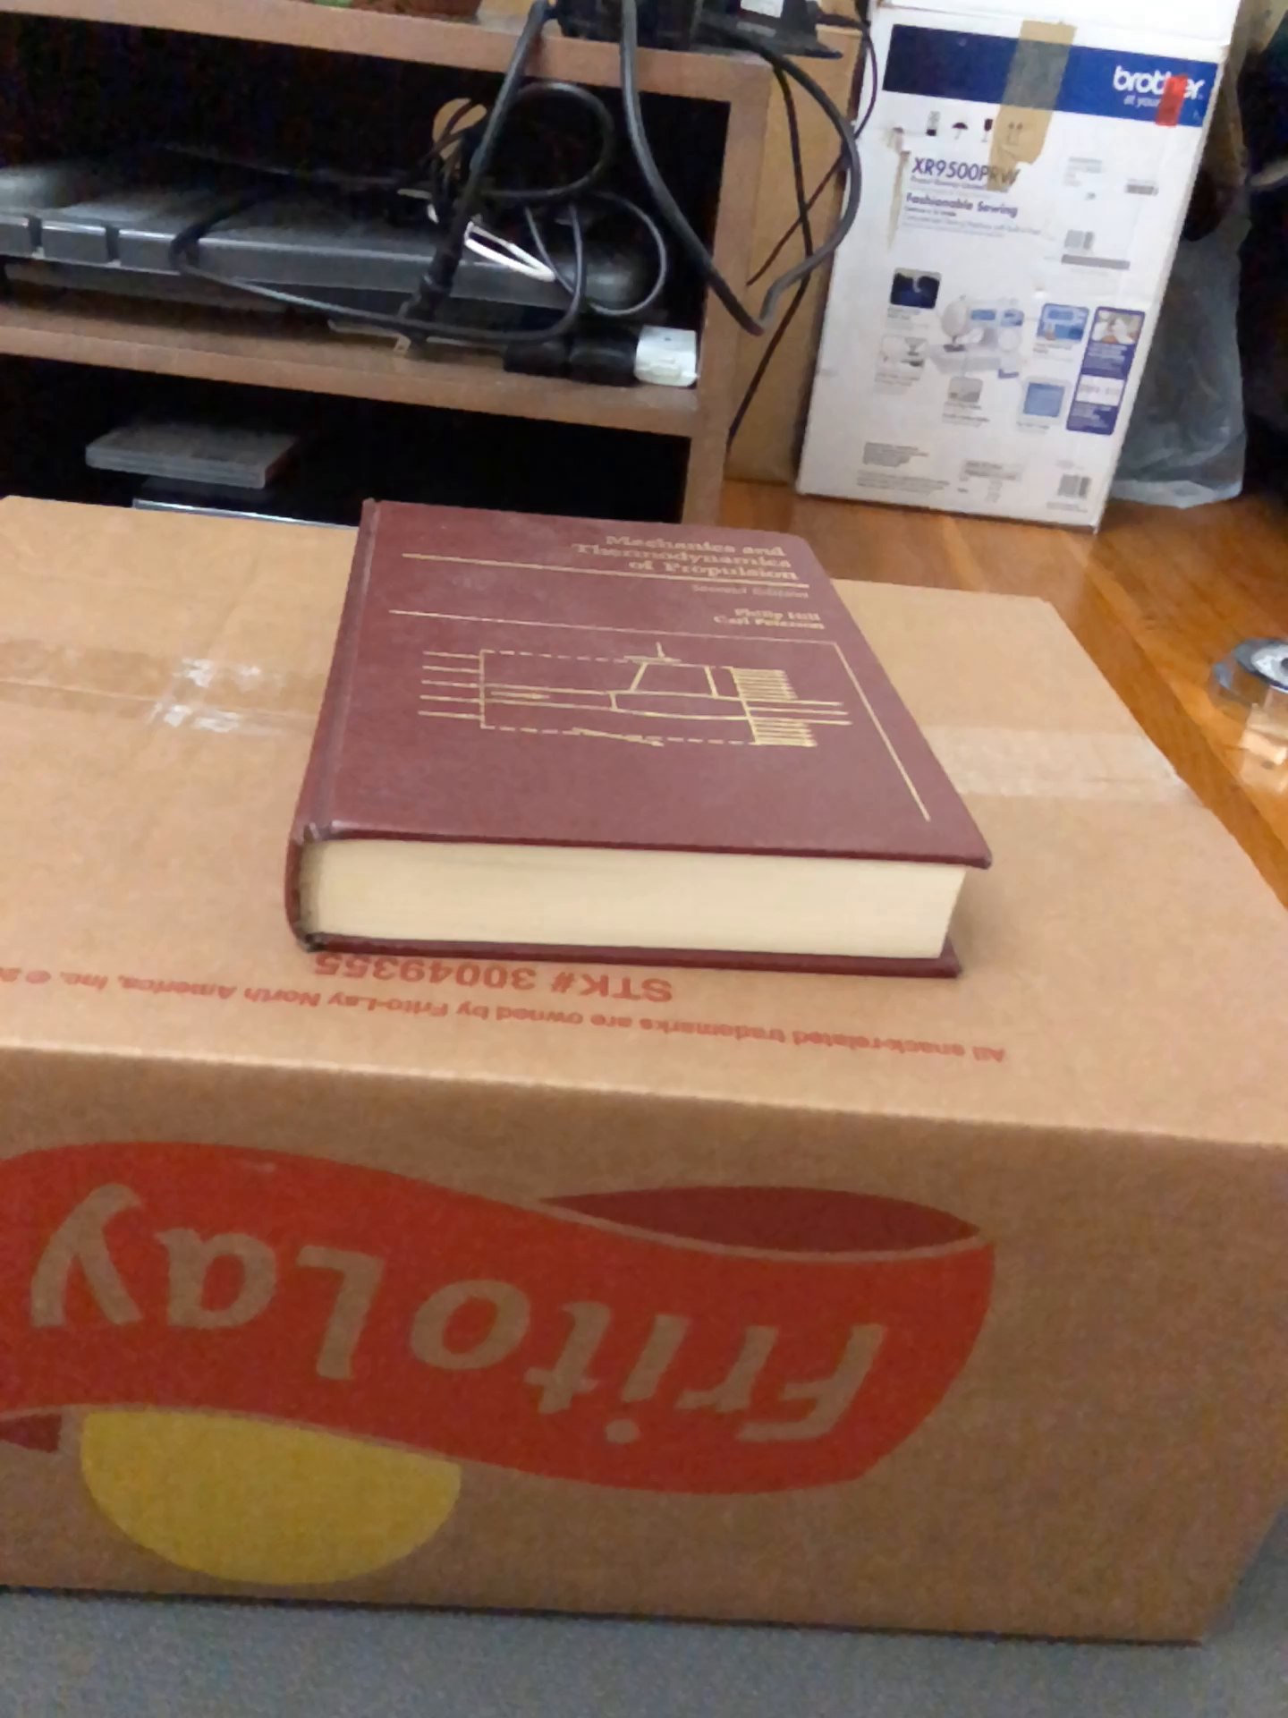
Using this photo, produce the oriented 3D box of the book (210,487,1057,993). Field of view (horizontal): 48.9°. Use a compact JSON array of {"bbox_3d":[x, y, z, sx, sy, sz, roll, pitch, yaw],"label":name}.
[{"bbox_3d":[-0.010,-0.051,0.429,0.190,0.040,0.241,3,31,-7],"label":"book"}]
